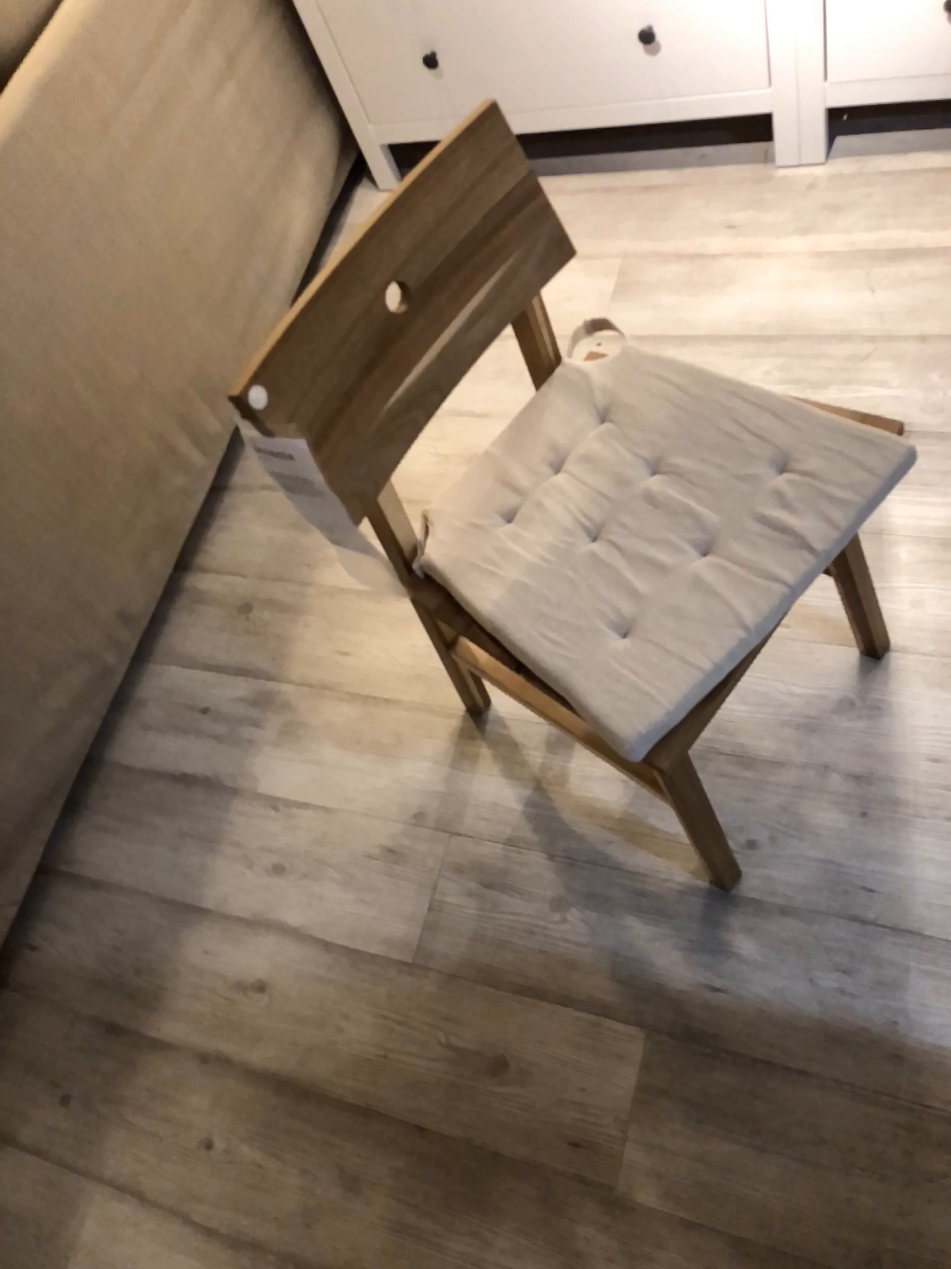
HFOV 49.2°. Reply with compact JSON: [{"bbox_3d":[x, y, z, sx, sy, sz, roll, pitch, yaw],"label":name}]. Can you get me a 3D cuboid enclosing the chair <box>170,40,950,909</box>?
[{"bbox_3d":[0.166,-0.144,1.088,0.531,0.599,0.500,29,75,30],"label":"chair"}]
